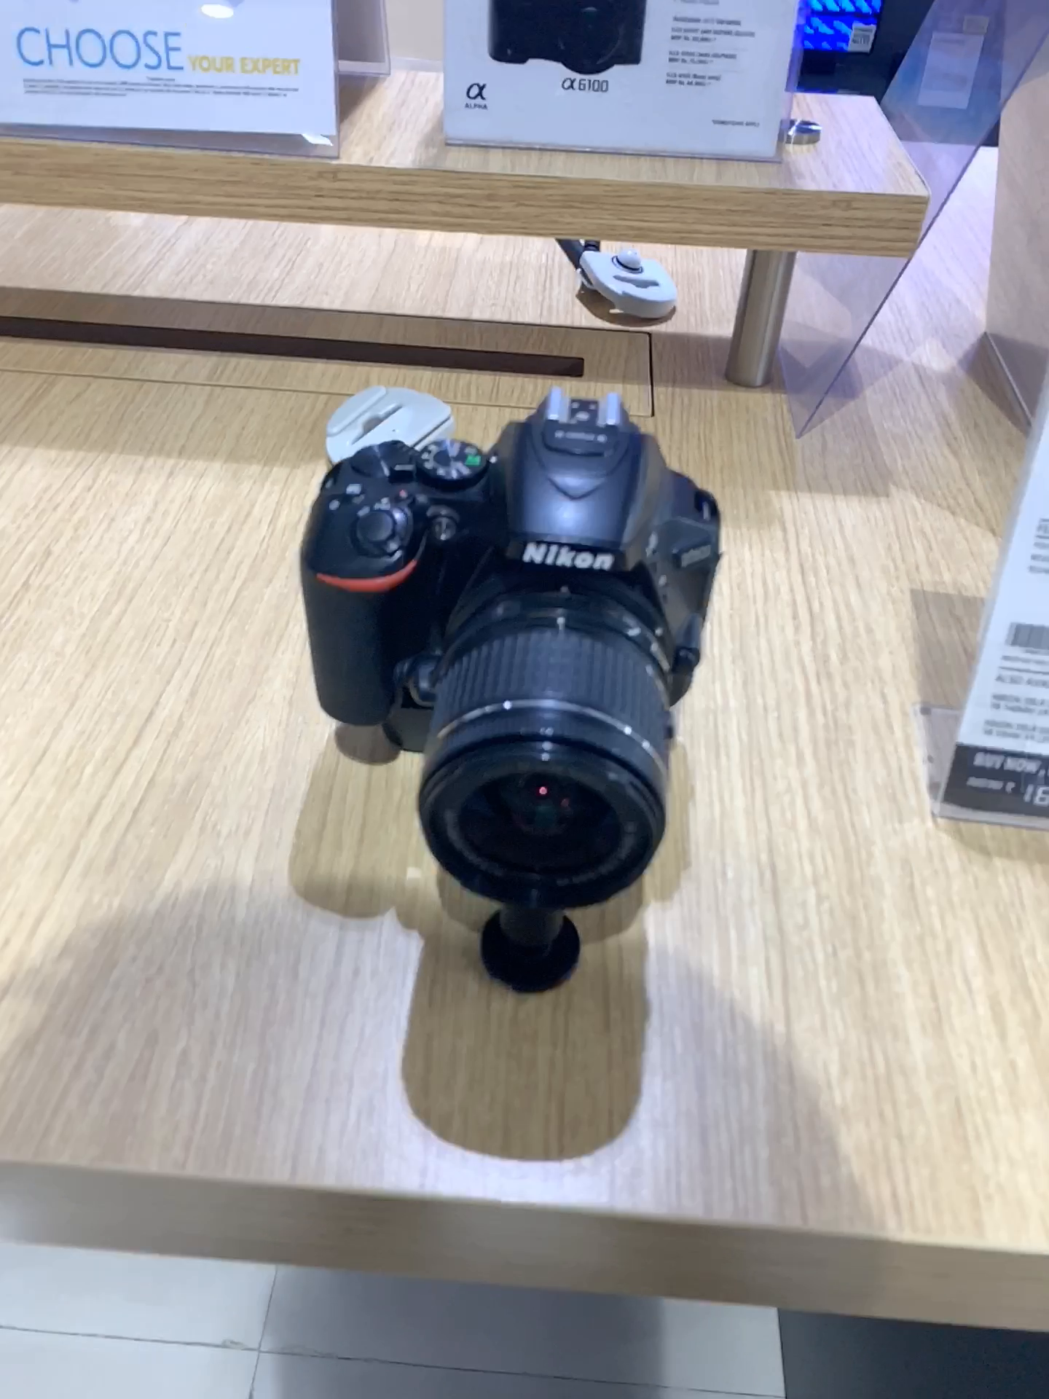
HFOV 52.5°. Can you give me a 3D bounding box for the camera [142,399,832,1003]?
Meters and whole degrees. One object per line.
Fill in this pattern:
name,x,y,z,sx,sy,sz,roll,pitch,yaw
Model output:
camera,-0.005,-0.004,0.258,0.124,0.080,0.114,5,42,1
